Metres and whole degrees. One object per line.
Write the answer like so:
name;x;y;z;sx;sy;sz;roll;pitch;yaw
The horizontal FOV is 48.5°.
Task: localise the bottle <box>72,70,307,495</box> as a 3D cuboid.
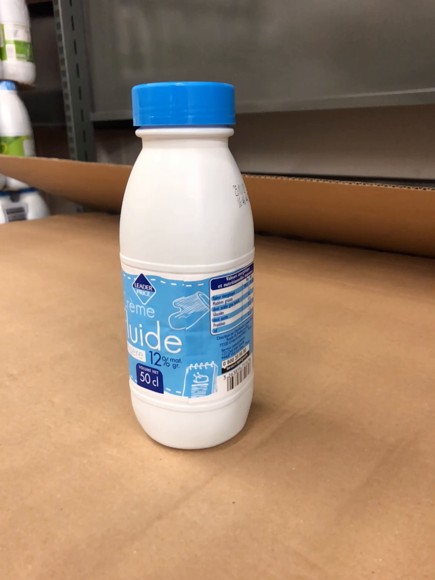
bottle;-0.009;-0.008;0.260;0.080;0.189;0.080;-1;17;0
